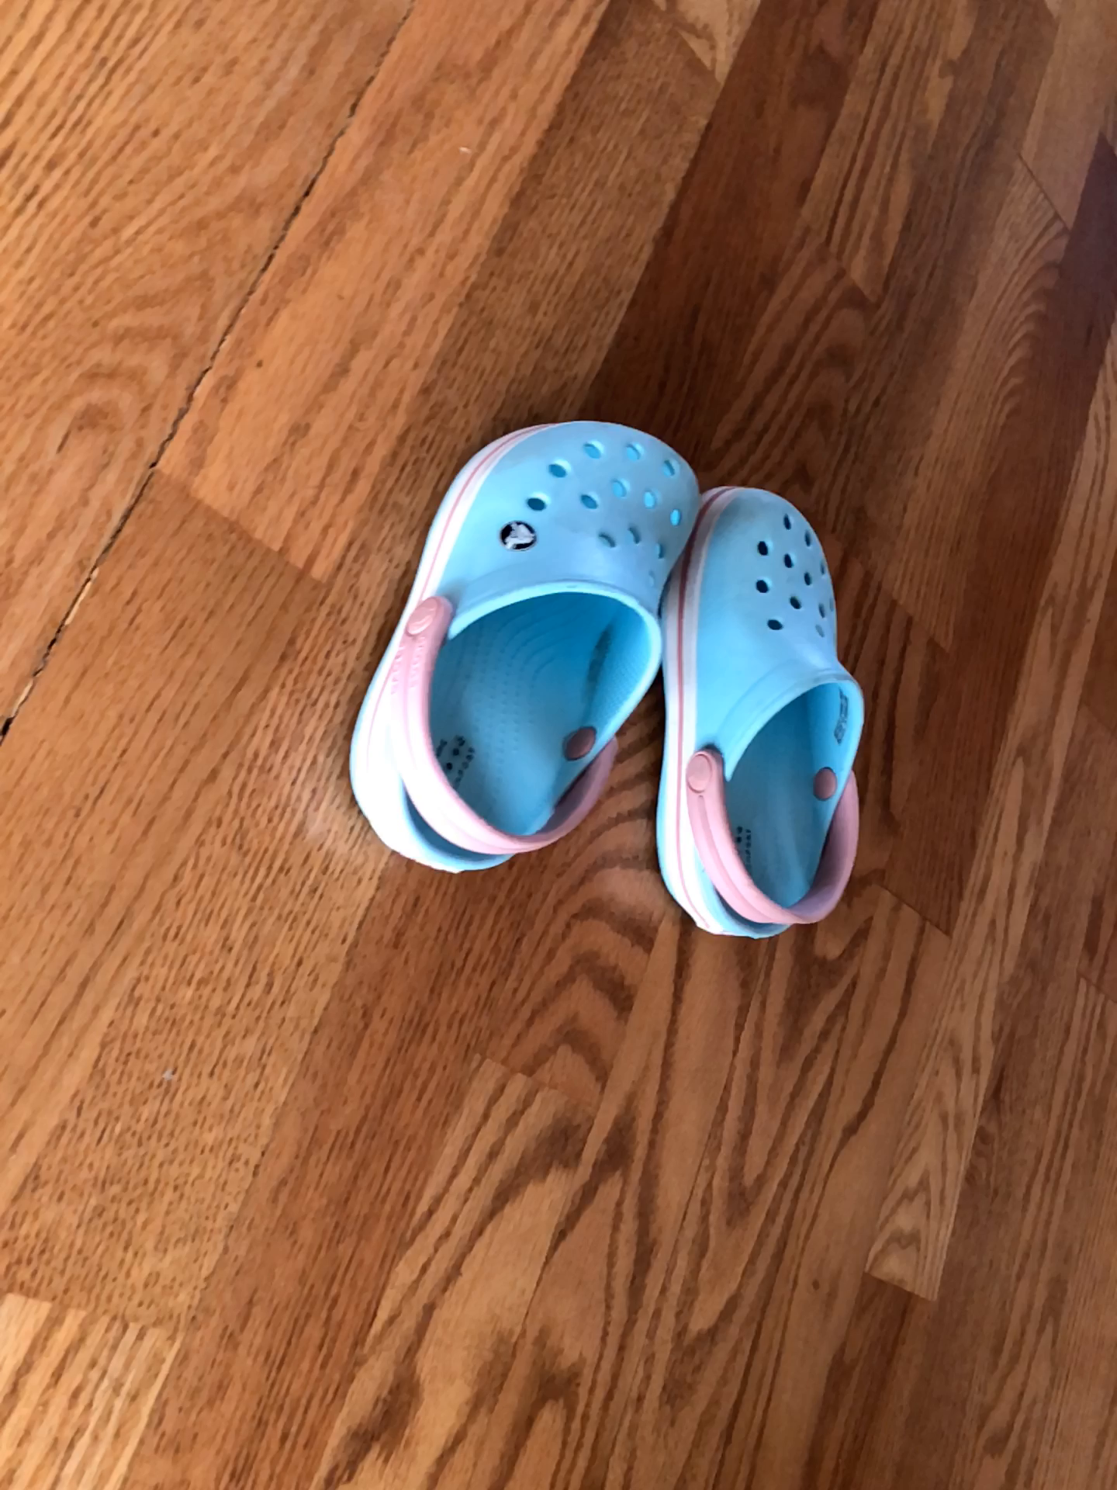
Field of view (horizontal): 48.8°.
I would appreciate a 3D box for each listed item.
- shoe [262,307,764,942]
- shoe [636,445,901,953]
[{"bbox_3d":[-0.008,-0.035,0.377,0.083,0.057,0.165,36,65,-33],"label":"shoe"},{"bbox_3d":[0.077,-0.012,0.442,0.083,0.048,0.165,6,83,-39],"label":"shoe"}]
